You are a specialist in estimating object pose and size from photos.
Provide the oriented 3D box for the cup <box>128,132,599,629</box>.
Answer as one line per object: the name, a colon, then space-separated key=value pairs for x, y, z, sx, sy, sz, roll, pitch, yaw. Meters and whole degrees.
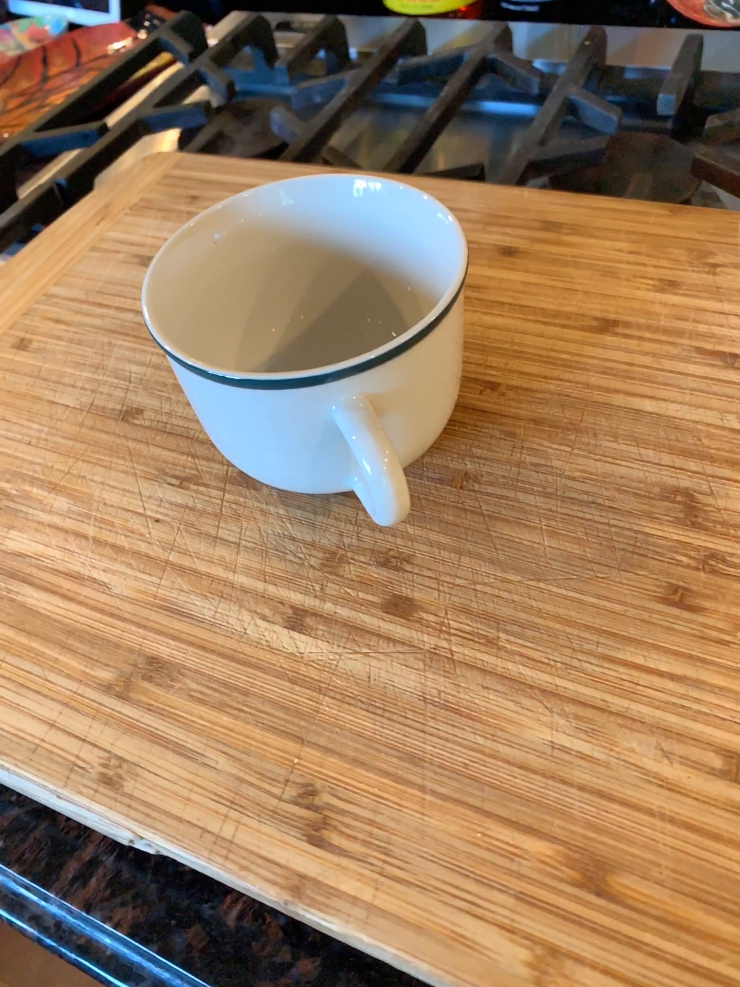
cup: x=-0.008 y=-0.040 z=0.229 sx=0.090 sy=0.060 sz=0.120 roll=-21 pitch=51 yaw=-8
